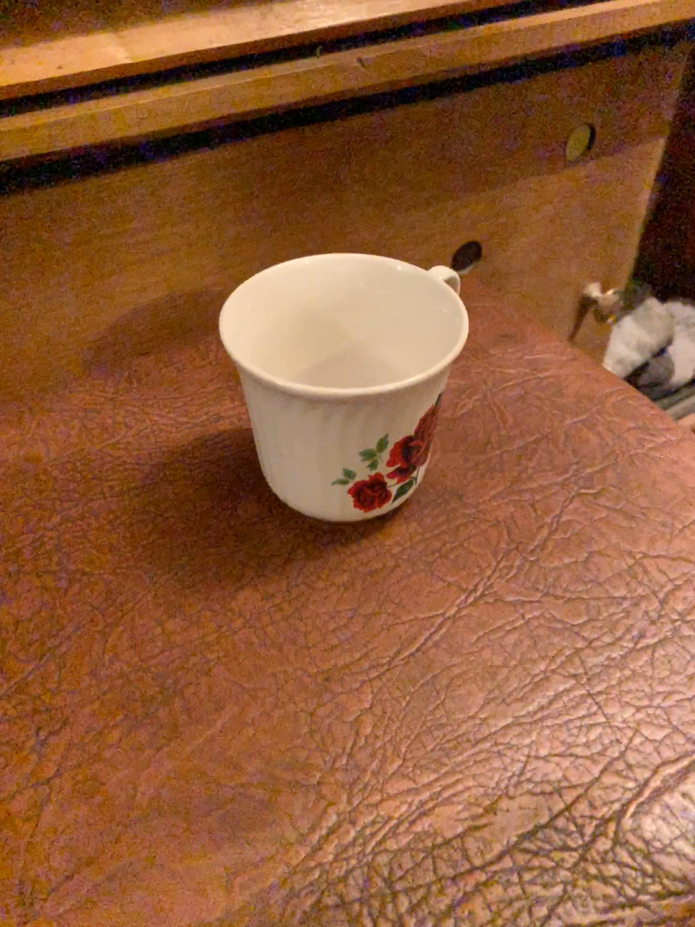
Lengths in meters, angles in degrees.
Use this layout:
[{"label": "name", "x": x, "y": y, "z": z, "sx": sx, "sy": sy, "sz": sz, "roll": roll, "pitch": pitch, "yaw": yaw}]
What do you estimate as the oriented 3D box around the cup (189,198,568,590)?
[{"label": "cup", "x": 0.016, "y": -0.033, "z": 0.277, "sx": 0.085, "sy": 0.082, "sz": 0.112, "roll": 23, "pitch": 48, "yaw": 25}]
